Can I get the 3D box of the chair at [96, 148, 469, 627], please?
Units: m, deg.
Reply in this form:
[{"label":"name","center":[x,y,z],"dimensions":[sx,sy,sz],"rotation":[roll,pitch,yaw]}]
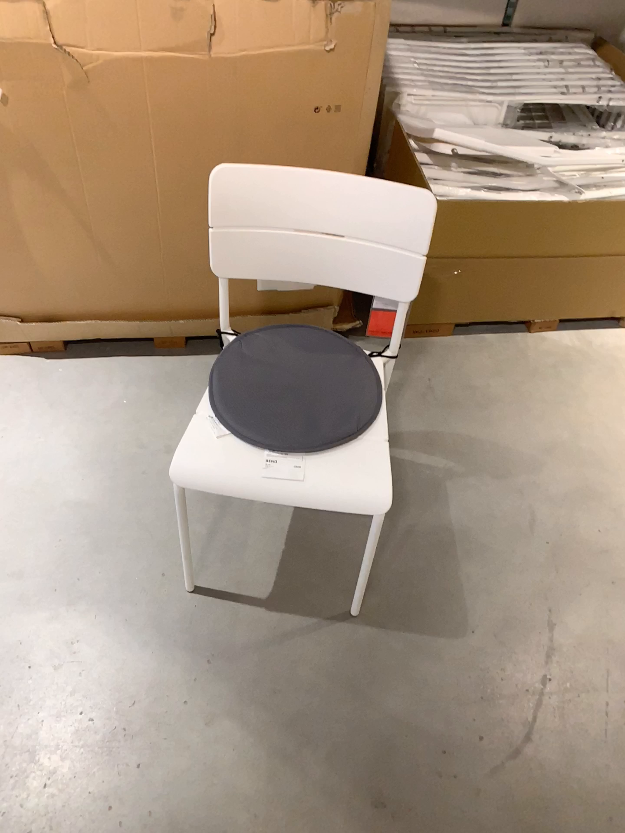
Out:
[{"label":"chair","center":[-0.032,-0.015,1.206],"dimensions":[0.460,0.718,0.492],"rotation":[9,50,2]}]
